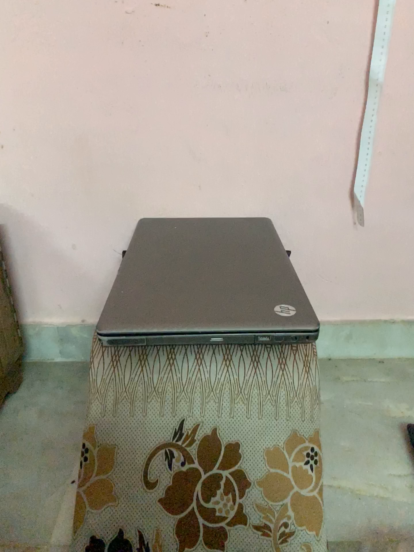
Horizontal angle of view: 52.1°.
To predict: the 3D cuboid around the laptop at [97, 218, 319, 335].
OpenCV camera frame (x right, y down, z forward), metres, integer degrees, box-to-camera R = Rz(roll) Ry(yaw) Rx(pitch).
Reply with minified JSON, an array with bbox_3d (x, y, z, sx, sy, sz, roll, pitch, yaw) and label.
[{"bbox_3d":[0.000,-0.023,0.646,0.249,0.002,0.381,0,27,-1],"label":"laptop"}]
